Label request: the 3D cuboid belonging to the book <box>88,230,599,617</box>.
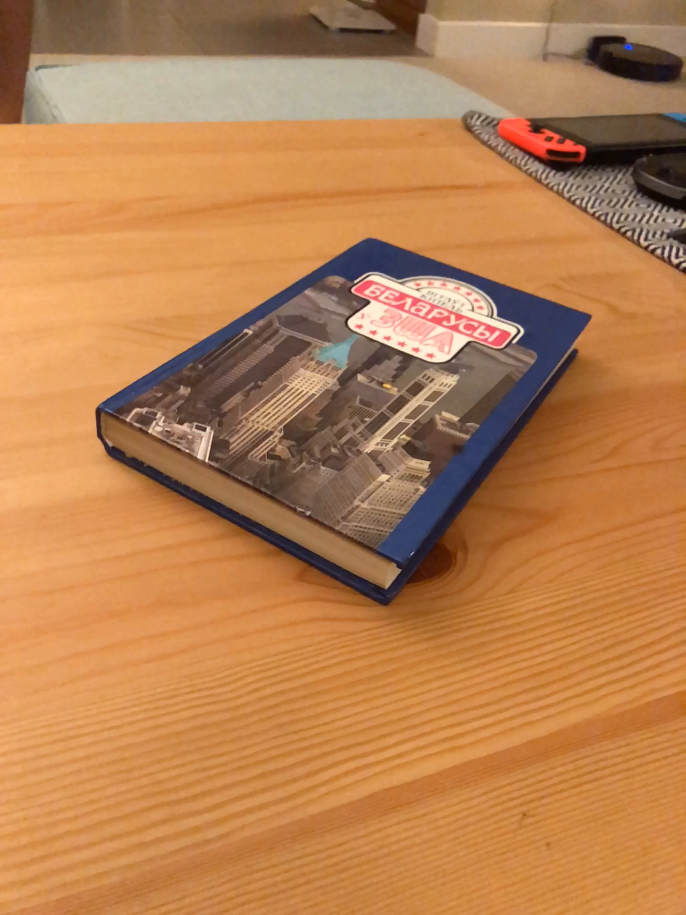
[{"bbox_3d":[0.016,-0.040,0.371,0.146,0.030,0.225,25,43,21],"label":"book"}]
